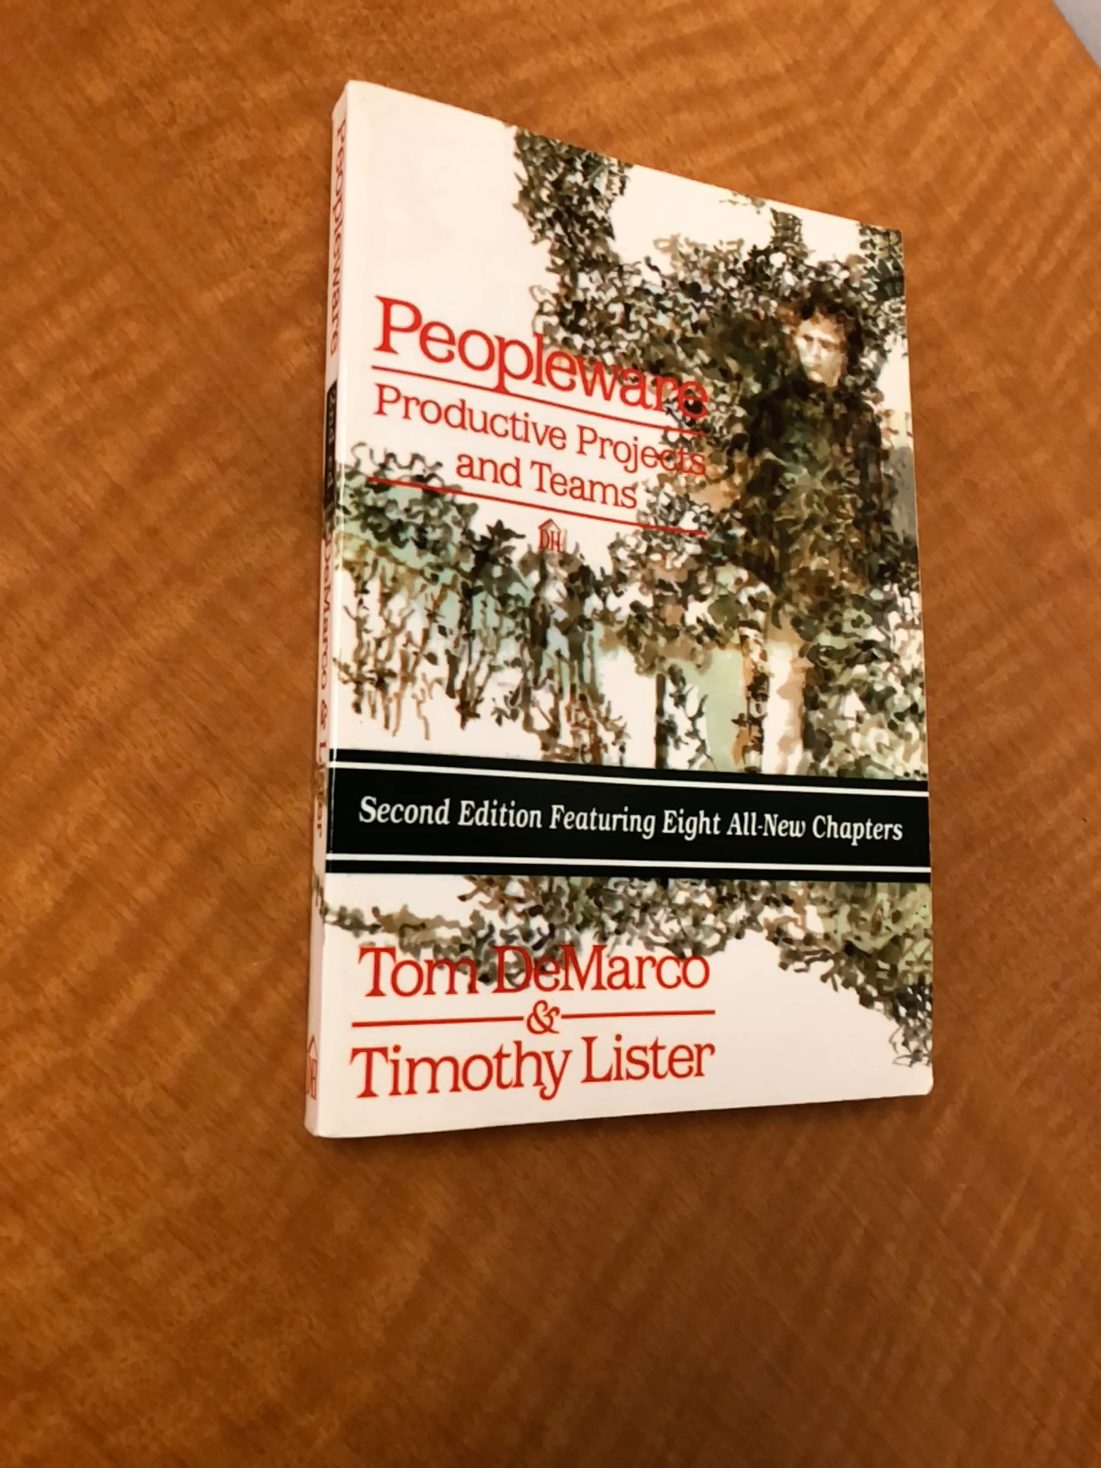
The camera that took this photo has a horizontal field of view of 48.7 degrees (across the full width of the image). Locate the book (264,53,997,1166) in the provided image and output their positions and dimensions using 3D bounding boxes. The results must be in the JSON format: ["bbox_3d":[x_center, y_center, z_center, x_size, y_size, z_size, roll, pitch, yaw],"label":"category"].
[{"bbox_3d":[0.021,-0.023,0.290,0.160,0.050,0.220,4,81,-25],"label":"book"}]
